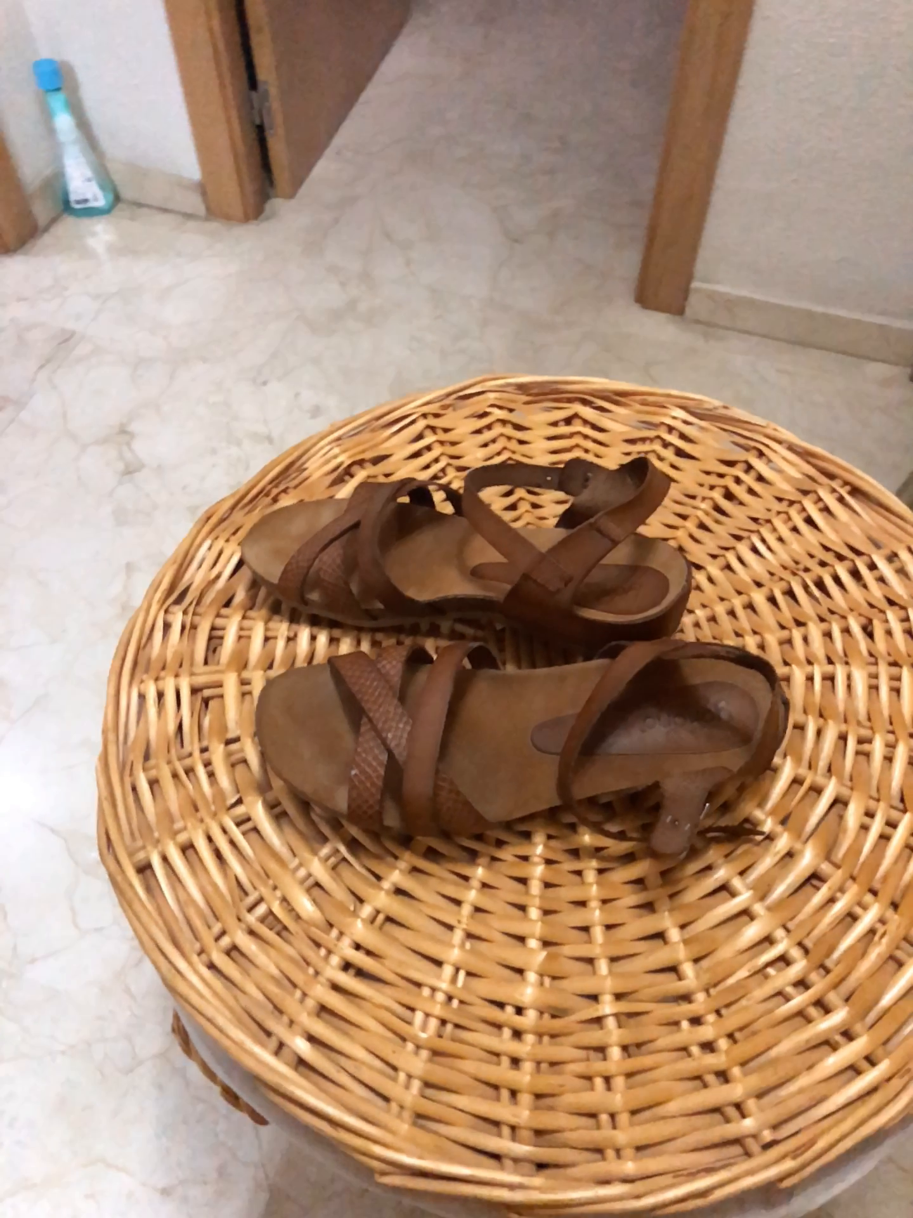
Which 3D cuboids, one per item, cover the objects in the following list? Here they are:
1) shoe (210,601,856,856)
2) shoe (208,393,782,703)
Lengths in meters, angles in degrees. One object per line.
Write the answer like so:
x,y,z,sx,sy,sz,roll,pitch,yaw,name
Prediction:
0.034,0.057,0.492,0.280,0.060,0.100,1,54,1,shoe
0.020,-0.040,0.547,0.280,0.070,0.100,12,54,19,shoe
